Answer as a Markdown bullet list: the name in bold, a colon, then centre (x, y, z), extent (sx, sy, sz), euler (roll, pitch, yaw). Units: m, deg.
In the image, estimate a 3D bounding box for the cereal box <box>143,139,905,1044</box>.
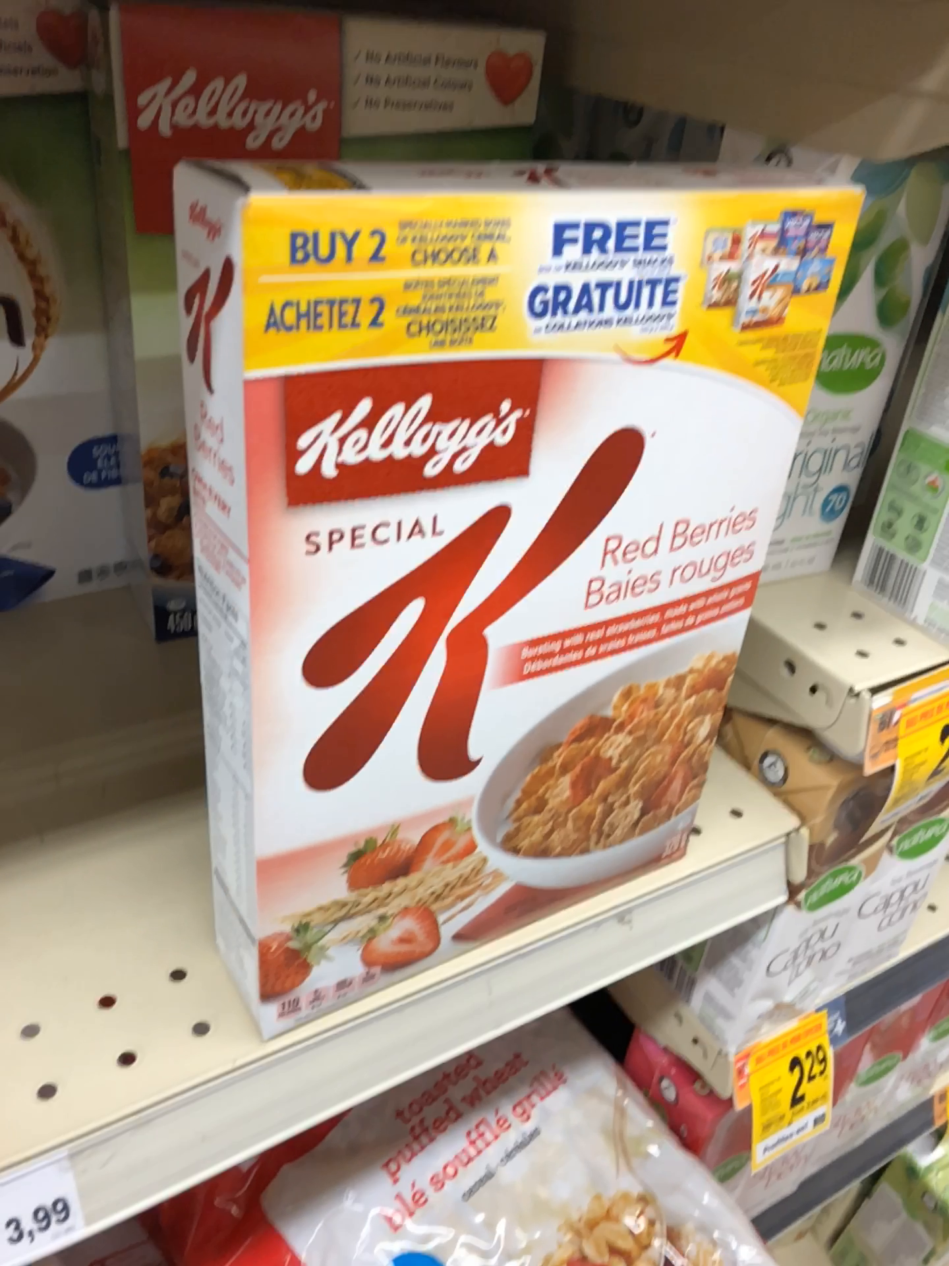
- **cereal box**: centre (0.010, -0.010, 0.321), extent (0.191, 0.248, 0.050), euler (-15, 39, -30)
